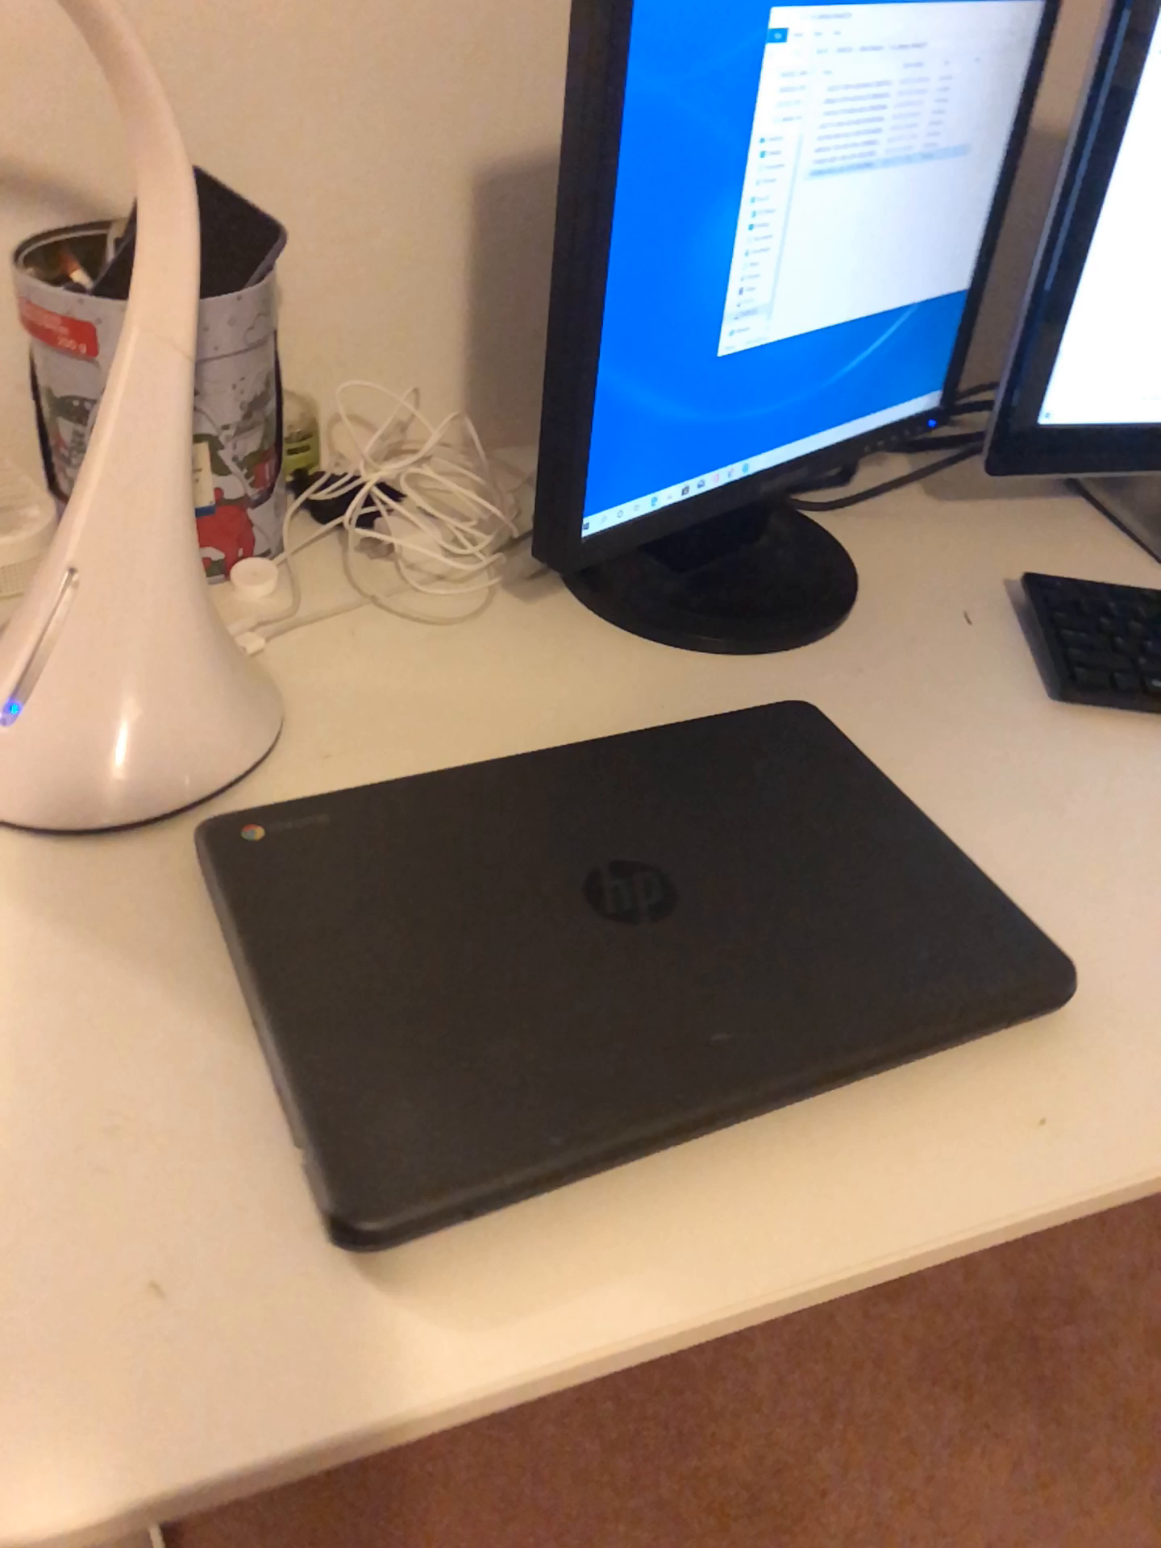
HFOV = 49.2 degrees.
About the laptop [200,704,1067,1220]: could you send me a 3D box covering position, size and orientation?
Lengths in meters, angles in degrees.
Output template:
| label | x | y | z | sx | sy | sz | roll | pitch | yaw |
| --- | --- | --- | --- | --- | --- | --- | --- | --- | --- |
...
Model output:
| label | x | y | z | sx | sy | sz | roll | pitch | yaw |
| --- | --- | --- | --- | --- | --- | --- | --- | --- | --- |
| laptop | 0.022 | 0.056 | 0.562 | 0.326 | 0.001 | 0.209 | -12 | 43 | -24 |
